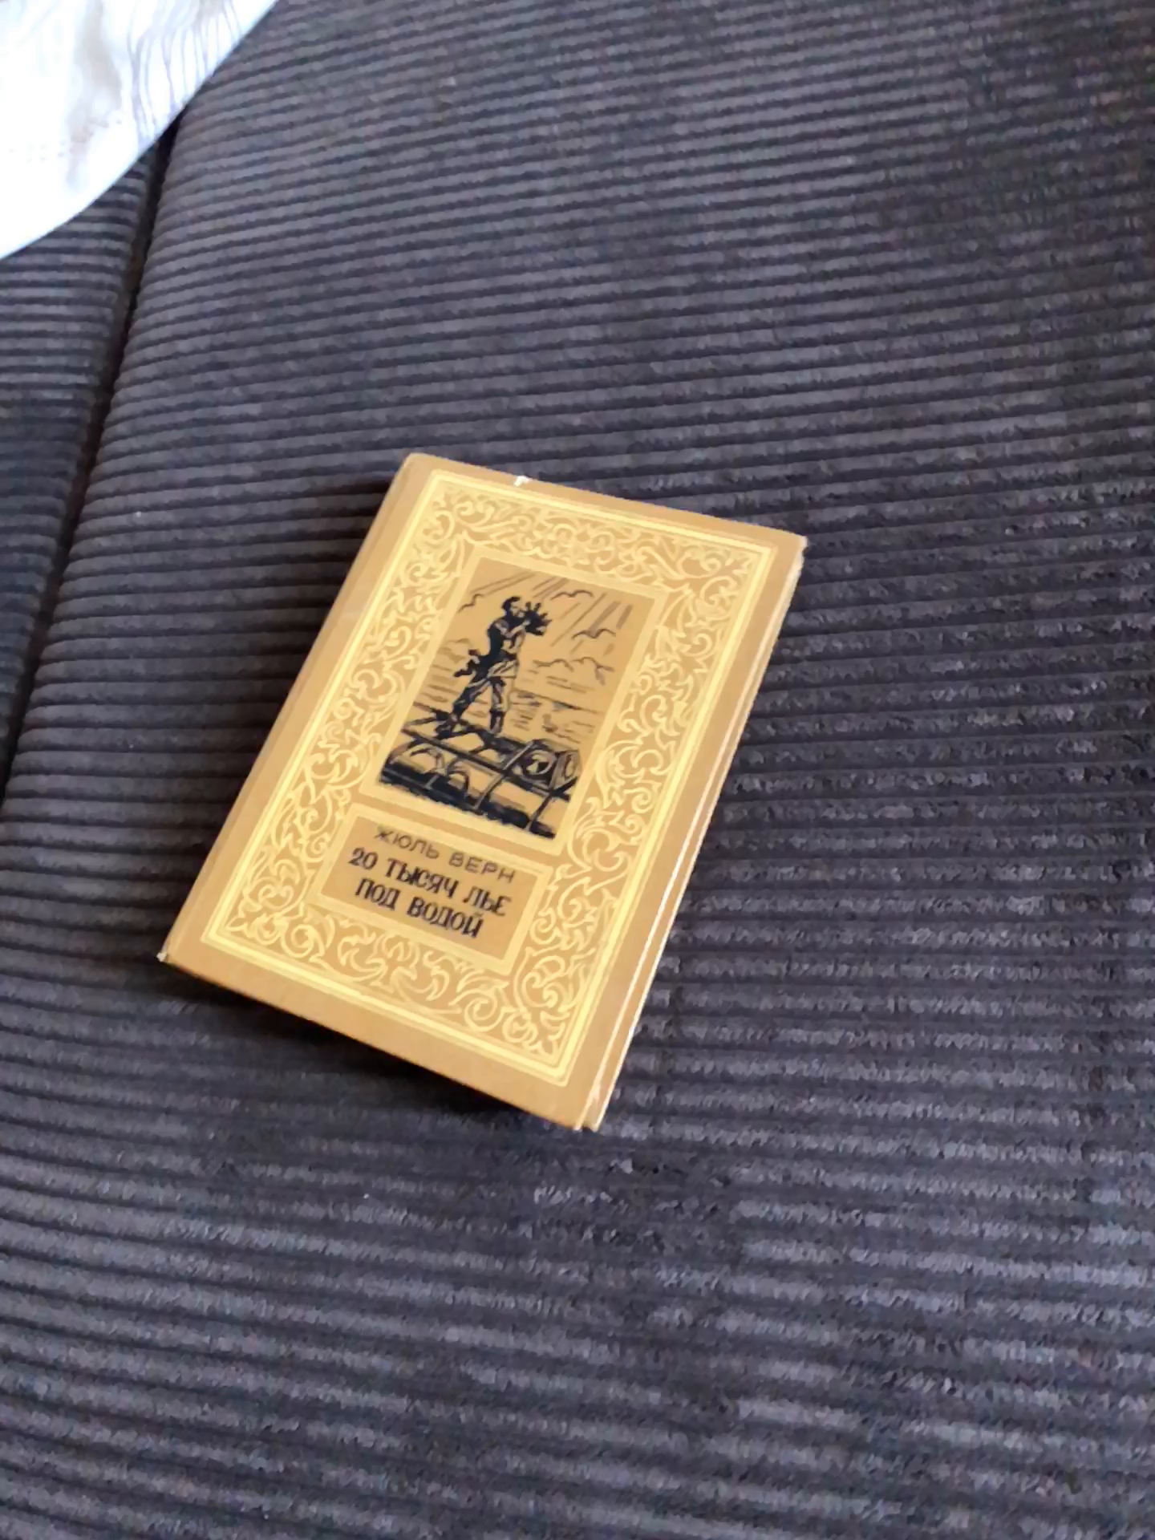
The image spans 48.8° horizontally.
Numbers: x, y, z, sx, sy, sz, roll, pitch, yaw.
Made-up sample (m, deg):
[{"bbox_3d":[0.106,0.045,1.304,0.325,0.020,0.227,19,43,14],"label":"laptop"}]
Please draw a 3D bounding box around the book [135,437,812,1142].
[{"bbox_3d":[-0.033,-0.006,0.456,0.170,0.029,0.219,16,73,20],"label":"book"}]
